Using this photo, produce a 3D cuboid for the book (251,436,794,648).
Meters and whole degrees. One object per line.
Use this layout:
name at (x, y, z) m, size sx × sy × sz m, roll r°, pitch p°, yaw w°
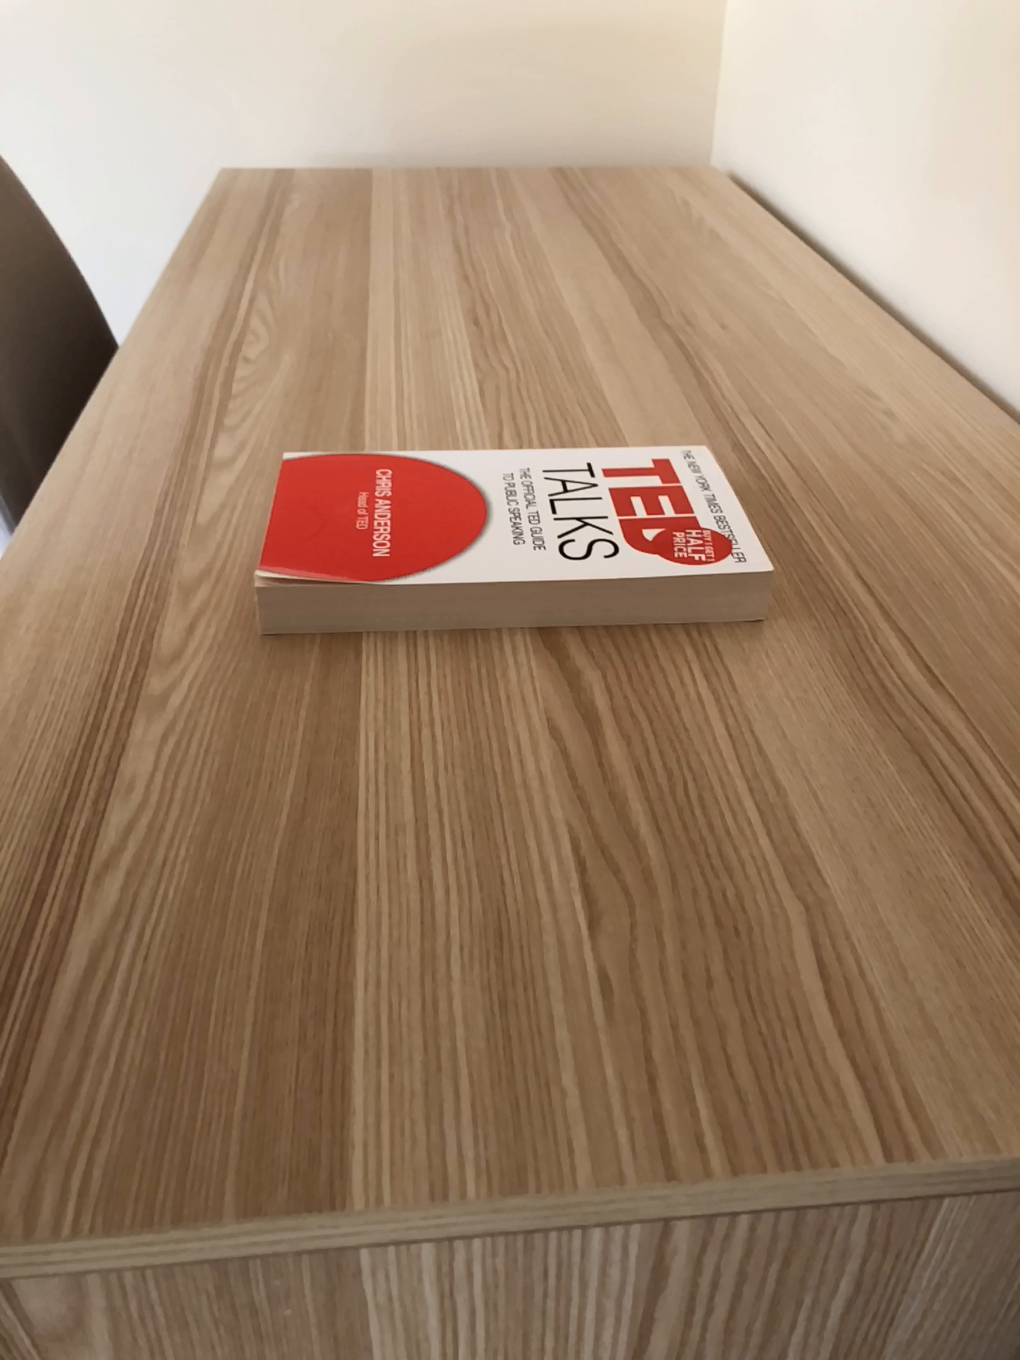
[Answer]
book at (0.002, -0.069, 0.519) m, size 0.220 × 0.030 × 0.139 m, roll -2°, pitch 35°, yaw -4°
